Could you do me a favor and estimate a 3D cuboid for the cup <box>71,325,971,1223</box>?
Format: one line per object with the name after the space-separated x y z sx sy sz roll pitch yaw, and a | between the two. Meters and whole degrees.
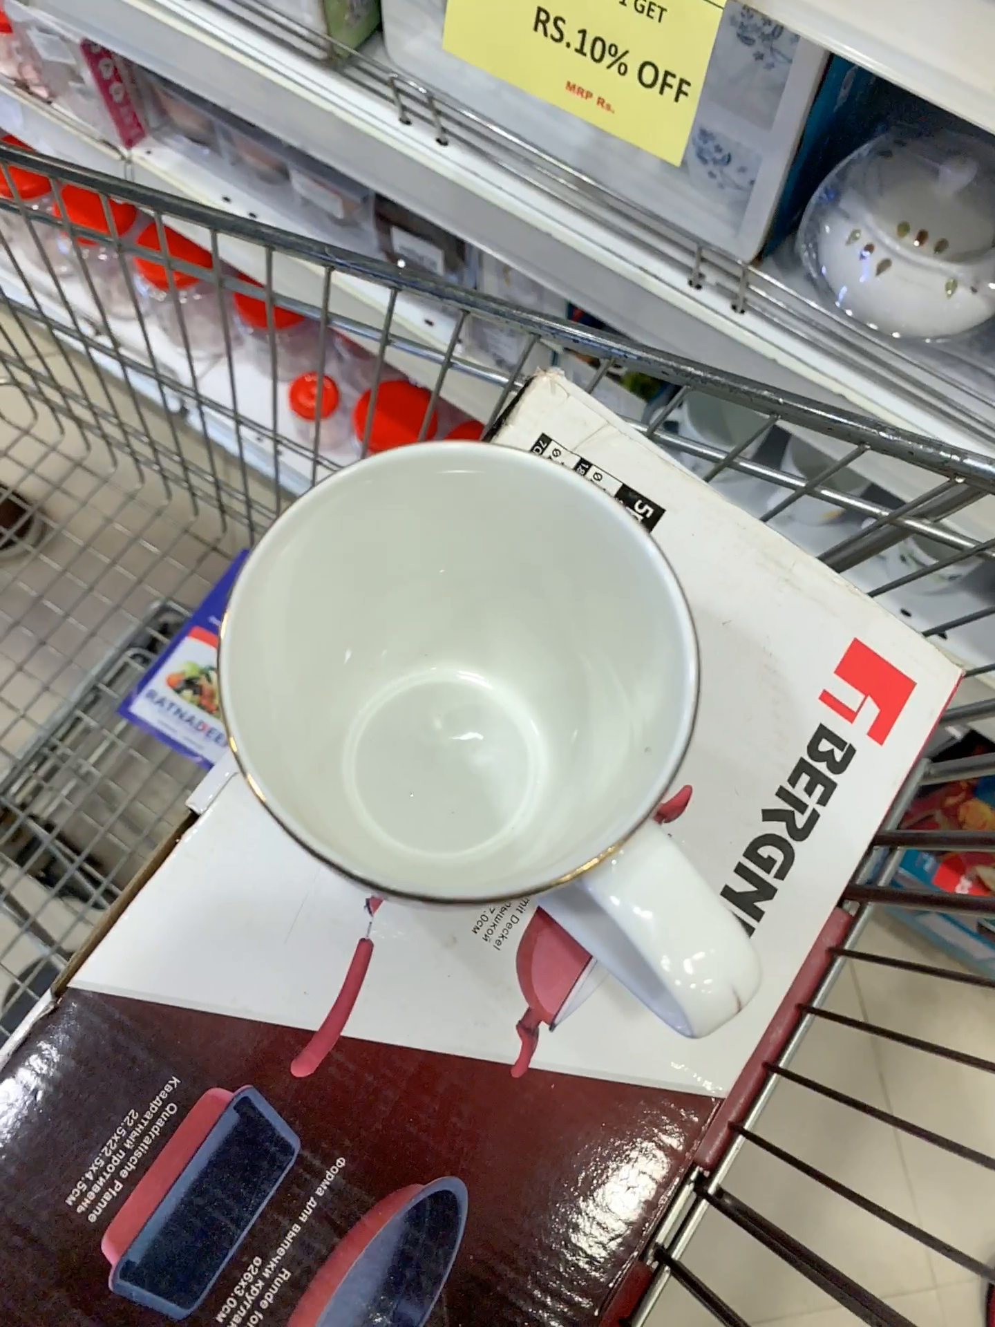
0.002 0.020 0.207 0.090 0.080 0.120 -41 78 -13 | cup
